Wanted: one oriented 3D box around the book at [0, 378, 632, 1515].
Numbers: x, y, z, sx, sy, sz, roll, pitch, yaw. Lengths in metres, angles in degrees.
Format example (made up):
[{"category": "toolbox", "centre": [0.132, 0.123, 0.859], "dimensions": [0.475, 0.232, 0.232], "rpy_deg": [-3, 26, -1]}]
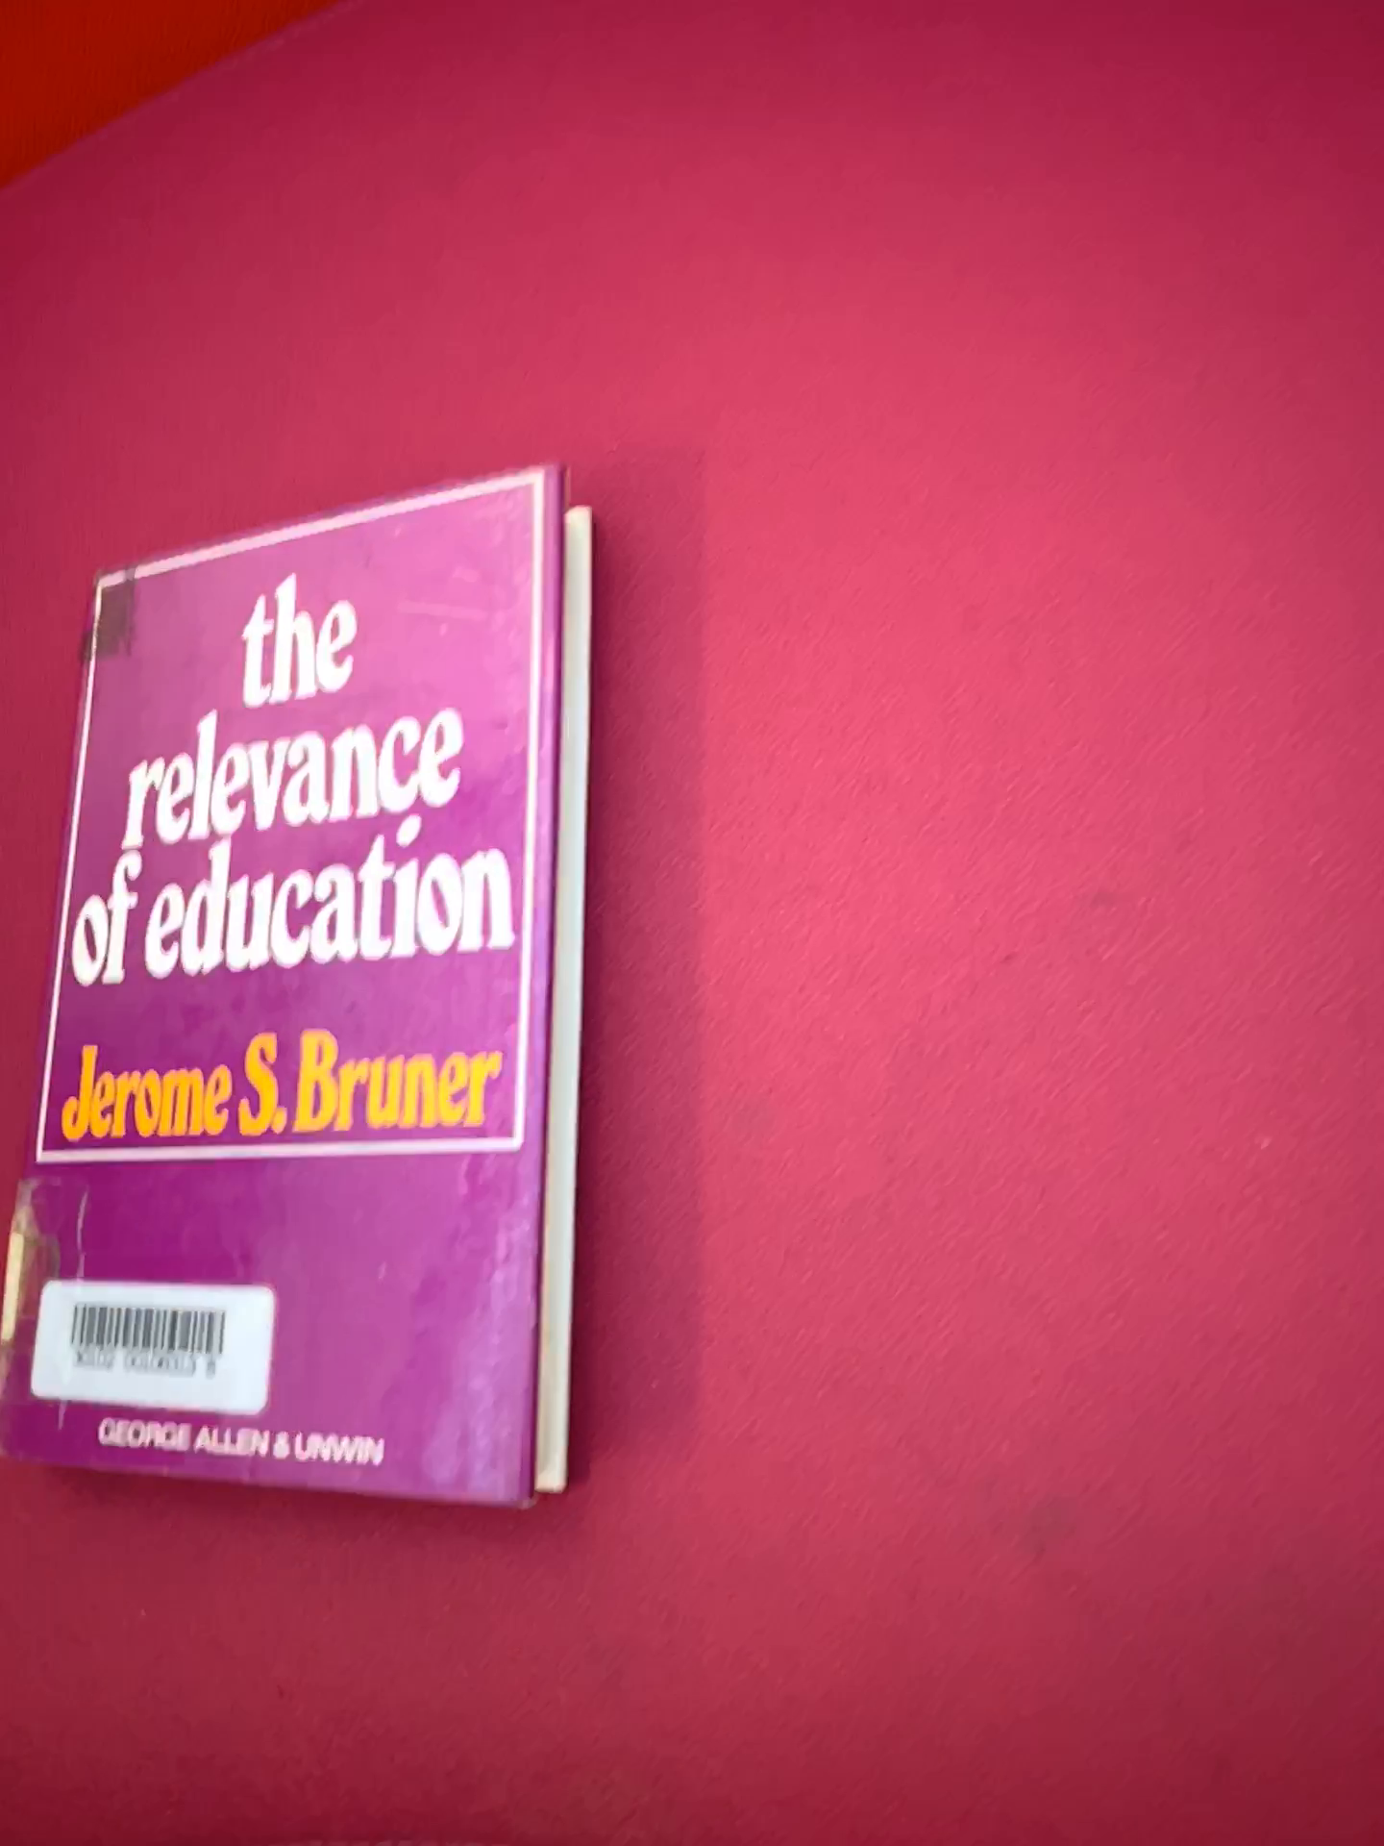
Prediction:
[{"category": "book", "centre": [-0.092, 0.004, 0.329], "dimensions": [0.150, 0.040, 0.230], "rpy_deg": [-5, 76, 24]}]
